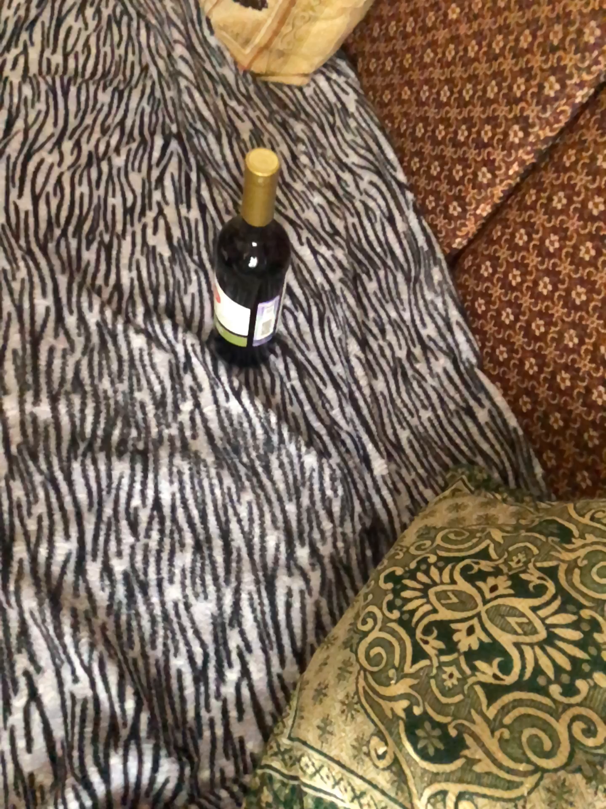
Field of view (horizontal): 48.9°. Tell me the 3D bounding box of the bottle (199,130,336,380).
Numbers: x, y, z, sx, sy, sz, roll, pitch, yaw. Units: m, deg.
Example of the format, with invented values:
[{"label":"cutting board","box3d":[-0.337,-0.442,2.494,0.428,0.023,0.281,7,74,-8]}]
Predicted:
[{"label":"bottle","box3d":[-0.048,-0.129,0.655,0.080,0.269,0.080,4,64,-9]}]
